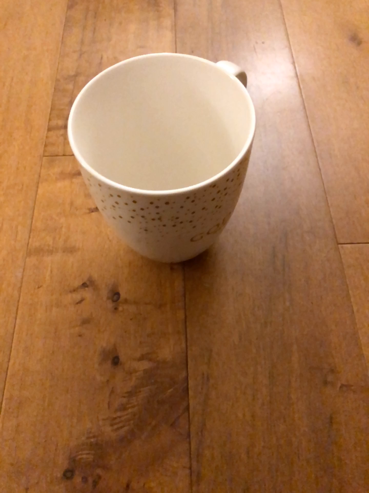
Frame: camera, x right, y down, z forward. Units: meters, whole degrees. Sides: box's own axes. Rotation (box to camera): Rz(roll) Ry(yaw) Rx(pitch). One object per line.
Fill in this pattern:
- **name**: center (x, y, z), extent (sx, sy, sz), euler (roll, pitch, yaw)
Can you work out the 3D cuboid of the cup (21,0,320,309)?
- **cup**: center (-0.003, -0.060, 0.279), extent (0.110, 0.109, 0.140), euler (29, 66, 15)
